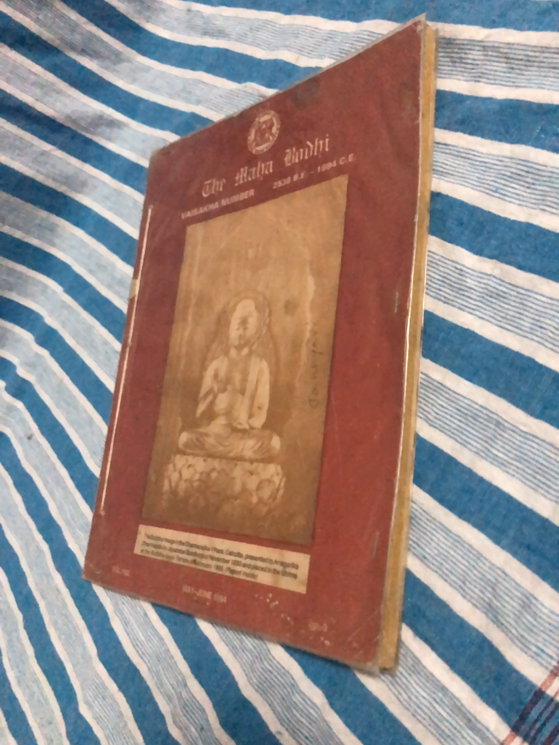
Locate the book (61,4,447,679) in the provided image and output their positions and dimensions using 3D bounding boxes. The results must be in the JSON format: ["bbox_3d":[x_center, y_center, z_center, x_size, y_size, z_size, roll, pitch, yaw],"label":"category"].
[{"bbox_3d":[-0.019,-0.019,0.285,0.181,0.020,0.250,-5,72,40],"label":"book"}]
